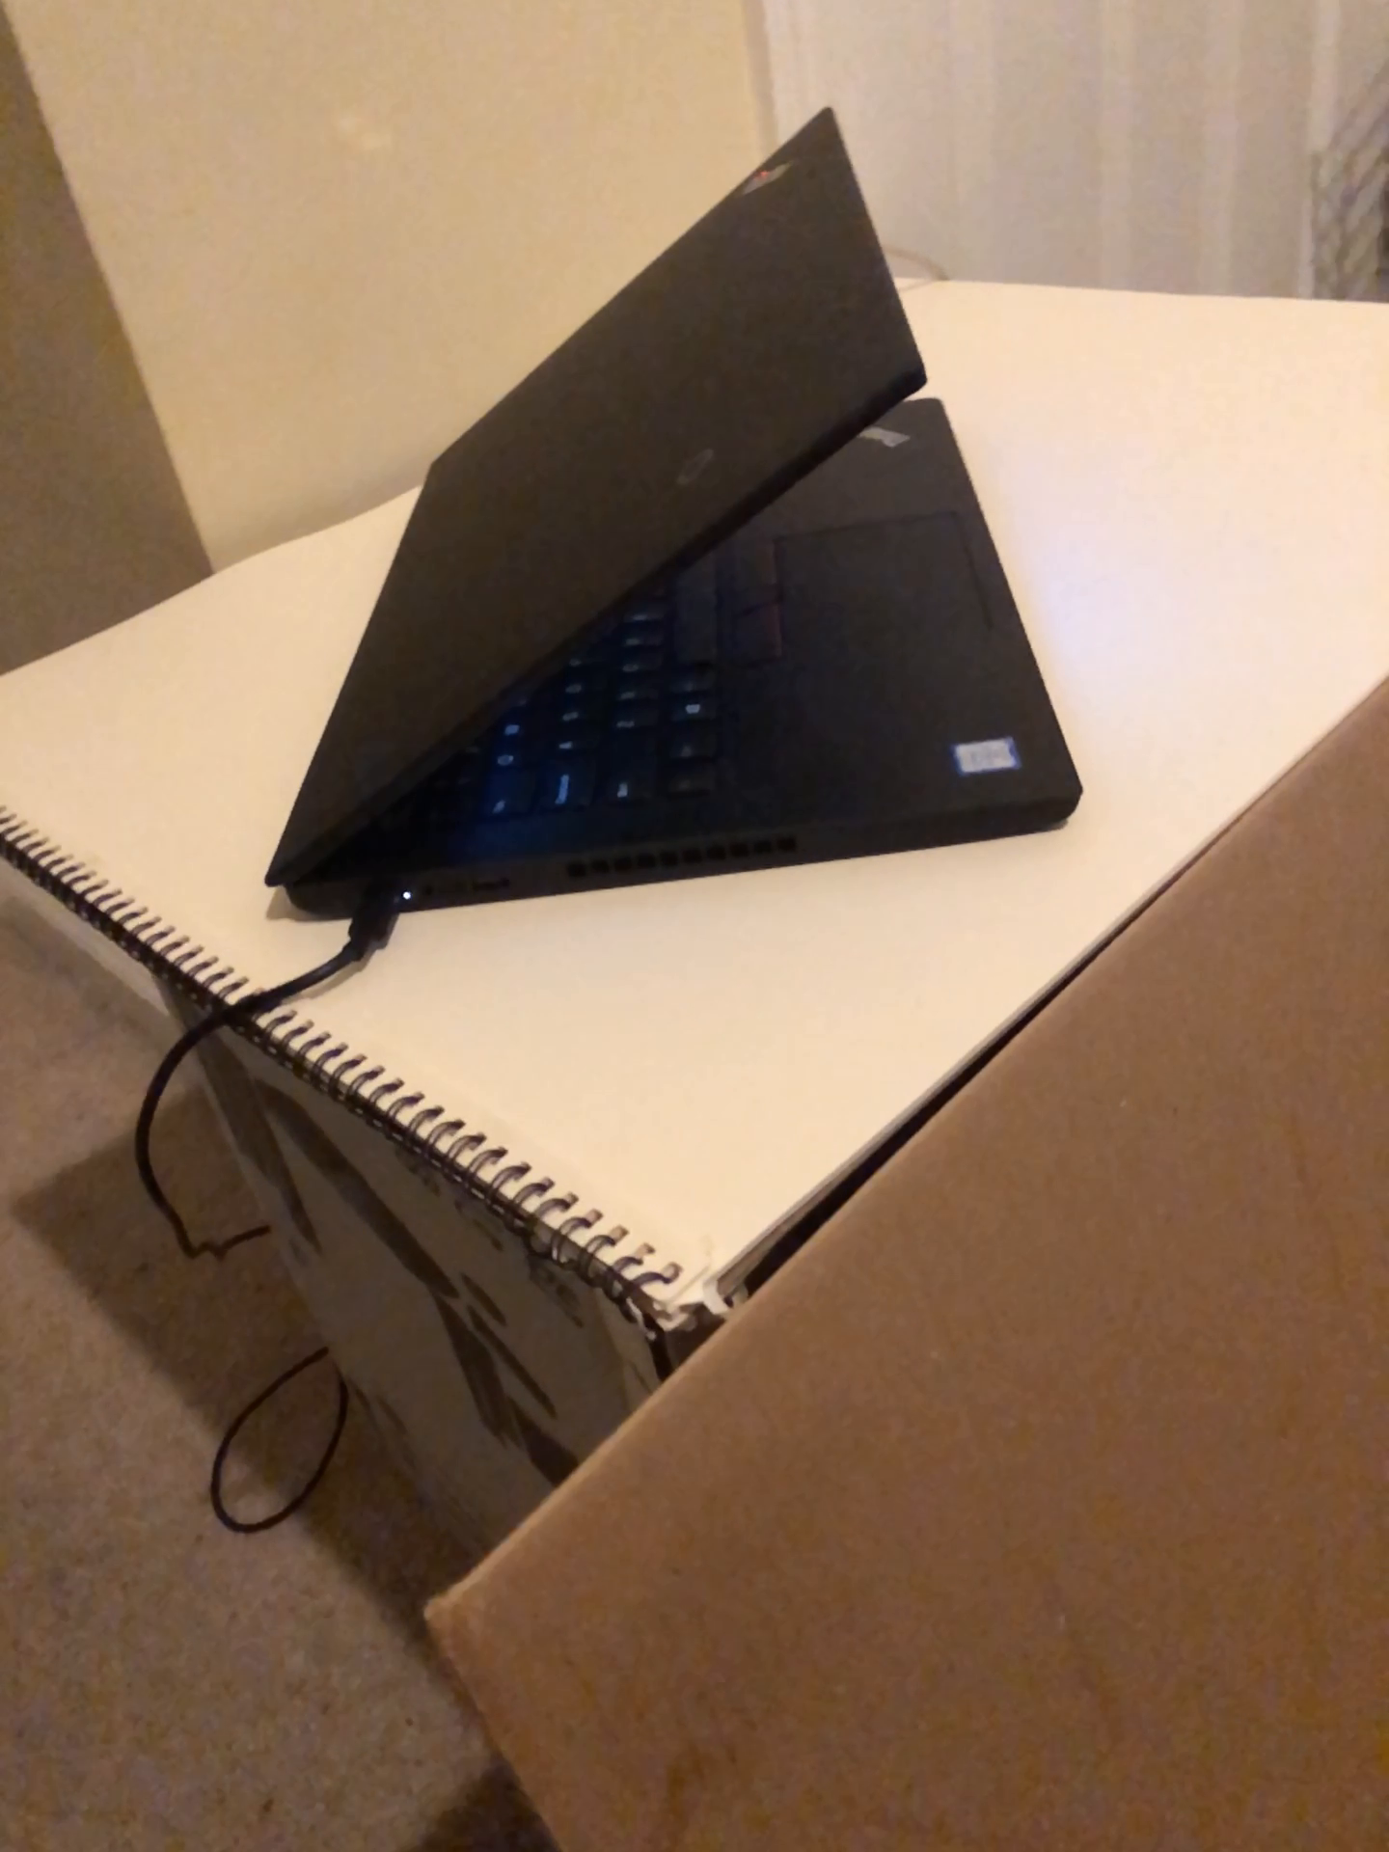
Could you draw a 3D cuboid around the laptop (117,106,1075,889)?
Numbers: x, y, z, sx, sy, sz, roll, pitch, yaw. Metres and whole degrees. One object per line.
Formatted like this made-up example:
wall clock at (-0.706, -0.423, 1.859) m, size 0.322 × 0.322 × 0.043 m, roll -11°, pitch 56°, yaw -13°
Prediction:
laptop at (-0.017, -0.166, 0.519) m, size 0.226 × 0.115 × 0.319 m, roll -7°, pitch 37°, yaw 6°
